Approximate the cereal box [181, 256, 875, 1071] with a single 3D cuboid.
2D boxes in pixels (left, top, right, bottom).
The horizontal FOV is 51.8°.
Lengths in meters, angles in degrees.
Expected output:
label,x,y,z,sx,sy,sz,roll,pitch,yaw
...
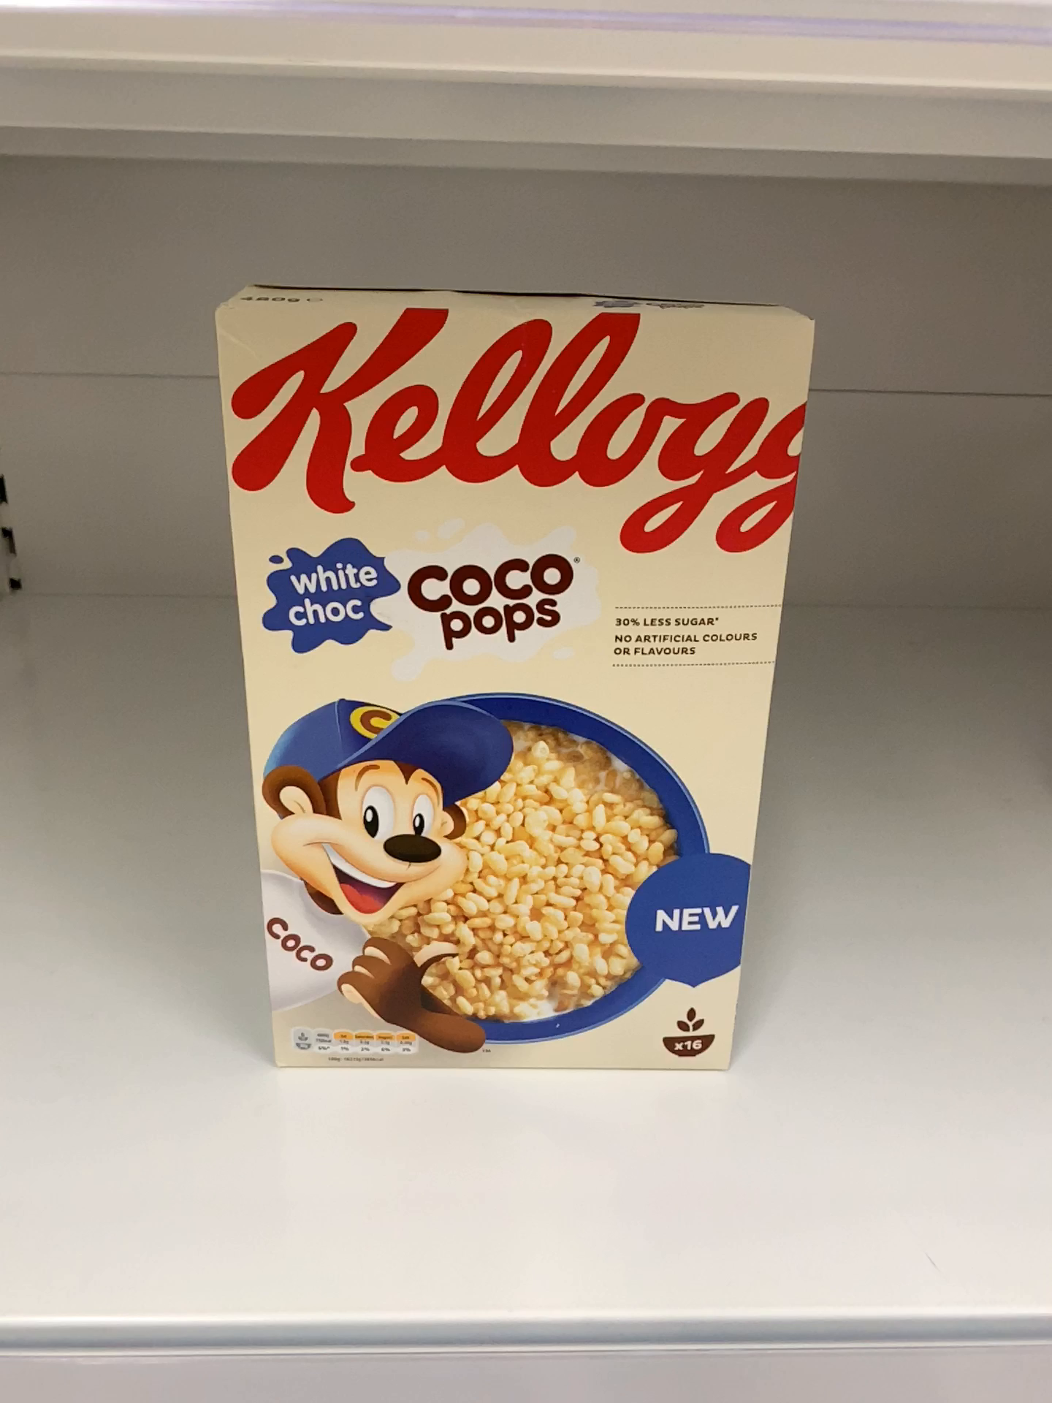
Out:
label,x,y,z,sx,sy,sz,roll,pitch,yaw
cereal box,-0.003,-0.006,0.413,0.210,0.298,0.071,1,21,-1
